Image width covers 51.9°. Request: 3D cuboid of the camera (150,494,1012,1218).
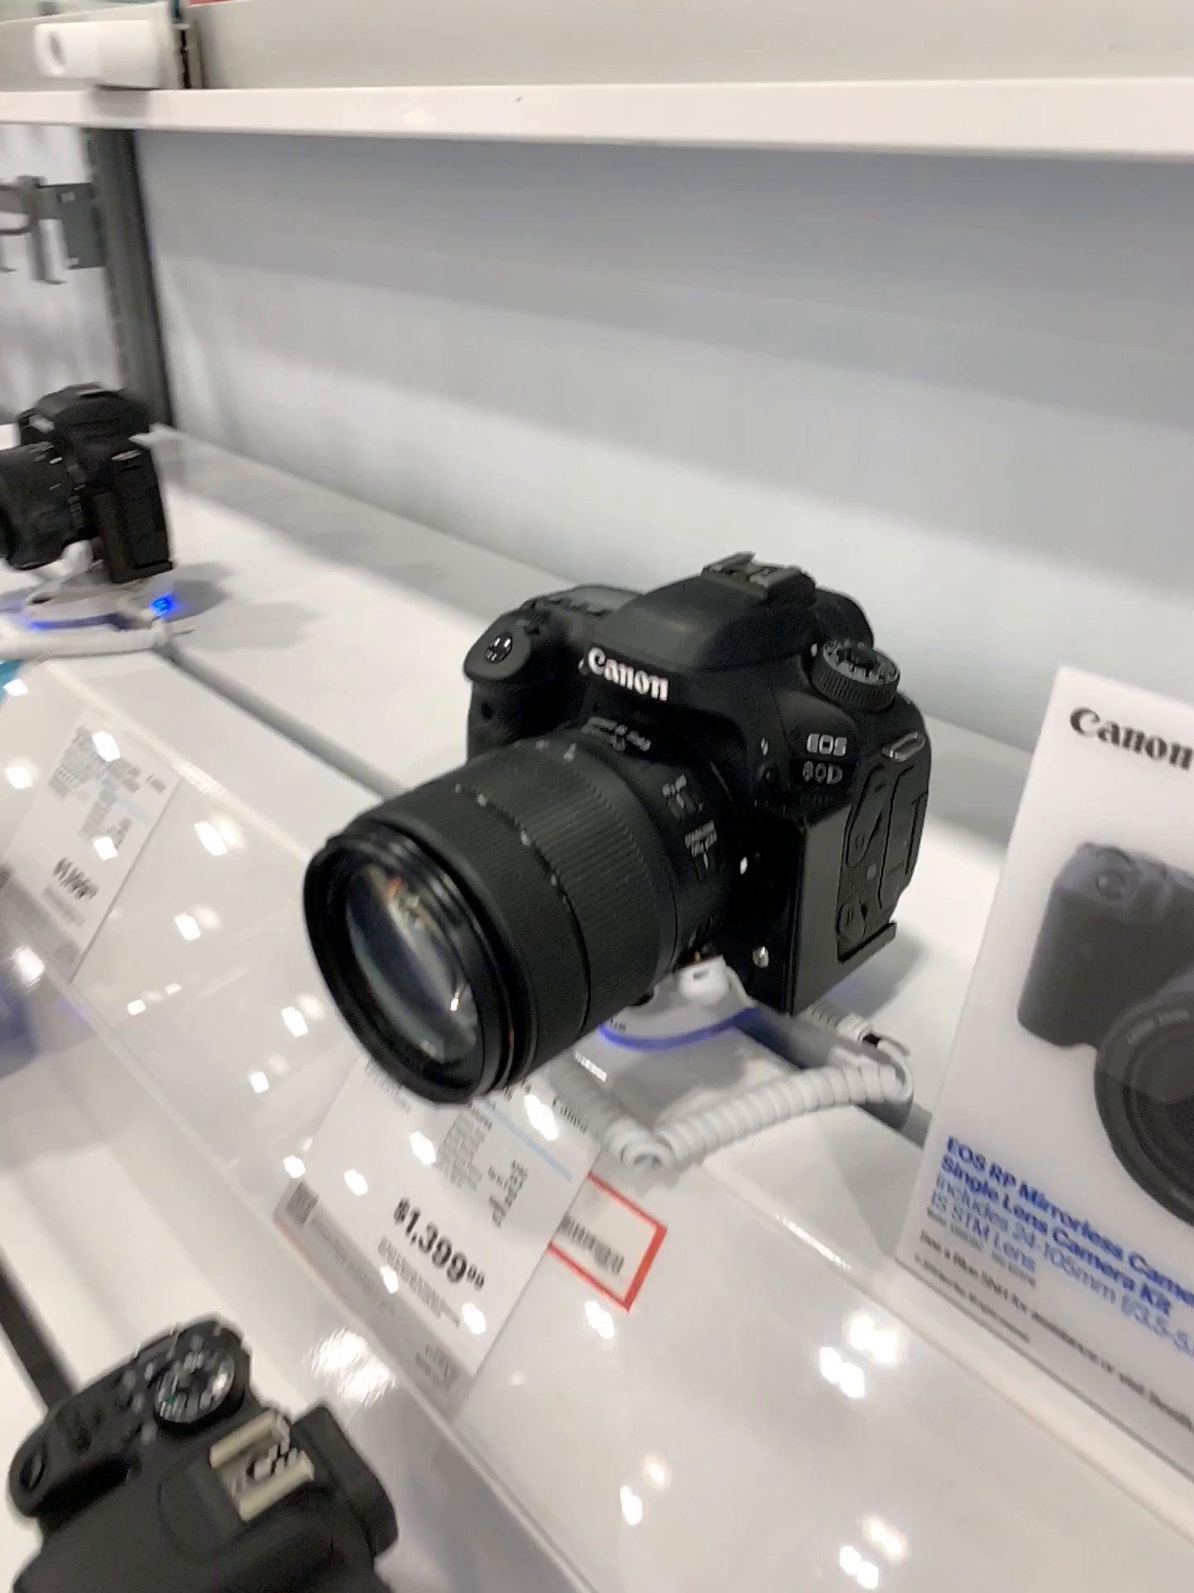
[{"bbox_3d":[-0.002,-0.006,0.346,0.150,0.099,0.170,25,37,37],"label":"camera"}]
